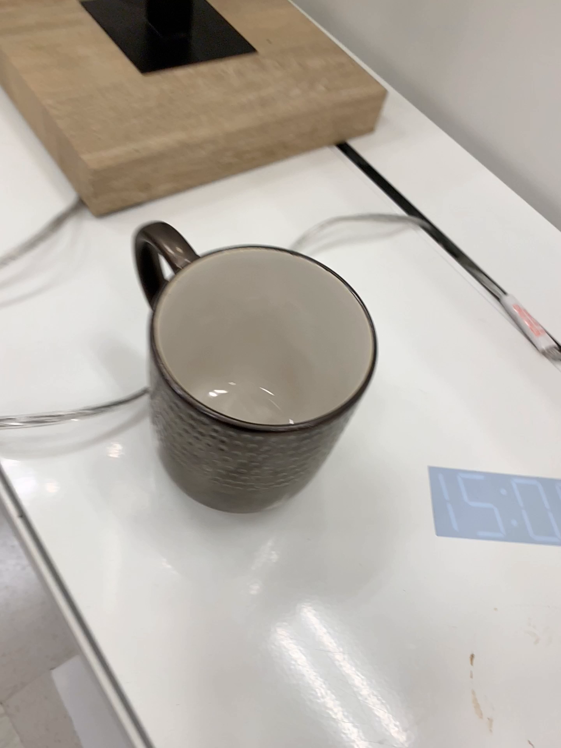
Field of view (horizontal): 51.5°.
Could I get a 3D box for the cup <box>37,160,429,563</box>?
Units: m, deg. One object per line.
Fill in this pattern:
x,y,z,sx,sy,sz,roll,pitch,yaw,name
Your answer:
-0.026,-0.007,0.269,0.095,0.093,0.131,-33,70,-27,cup
